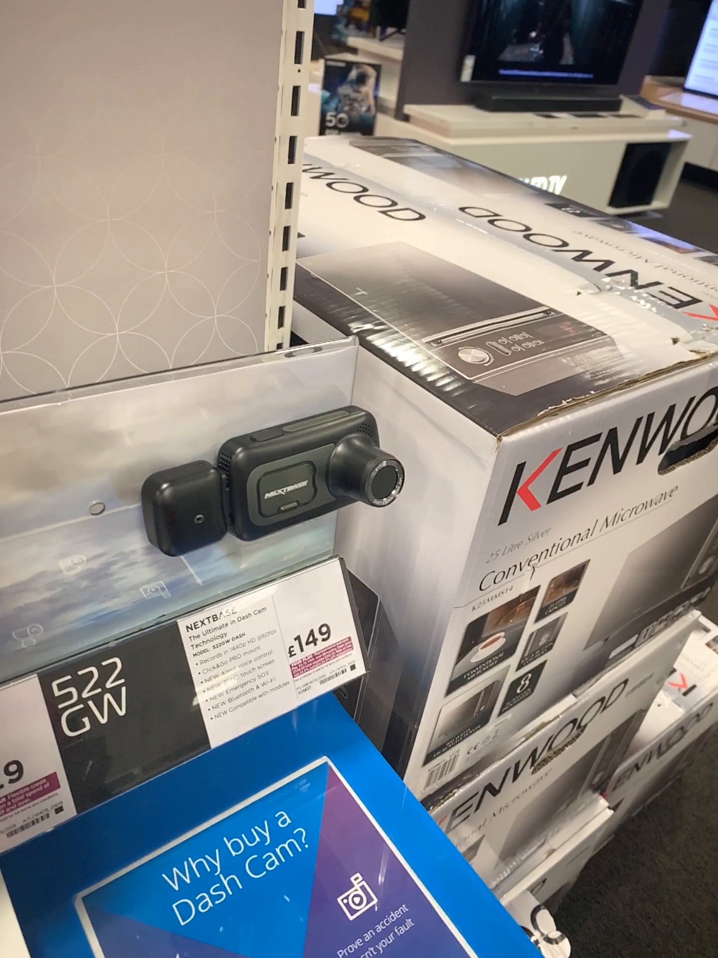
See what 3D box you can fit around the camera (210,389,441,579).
[{"bbox_3d":[-0.017,-0.002,0.383,0.100,0.050,0.060,-21,39,-36],"label":"camera"}]
